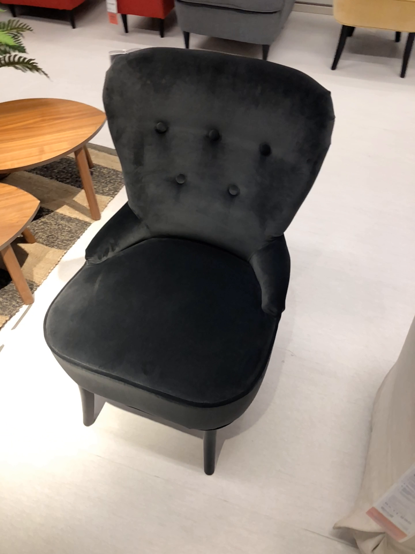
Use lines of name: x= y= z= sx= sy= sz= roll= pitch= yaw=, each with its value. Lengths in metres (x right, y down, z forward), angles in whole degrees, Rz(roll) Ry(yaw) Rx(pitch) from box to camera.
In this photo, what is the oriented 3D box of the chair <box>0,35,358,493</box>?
chair: x=-0.049 y=-0.038 z=1.216 sx=0.601 sy=0.775 sz=0.794 roll=15 pitch=52 yaw=13
